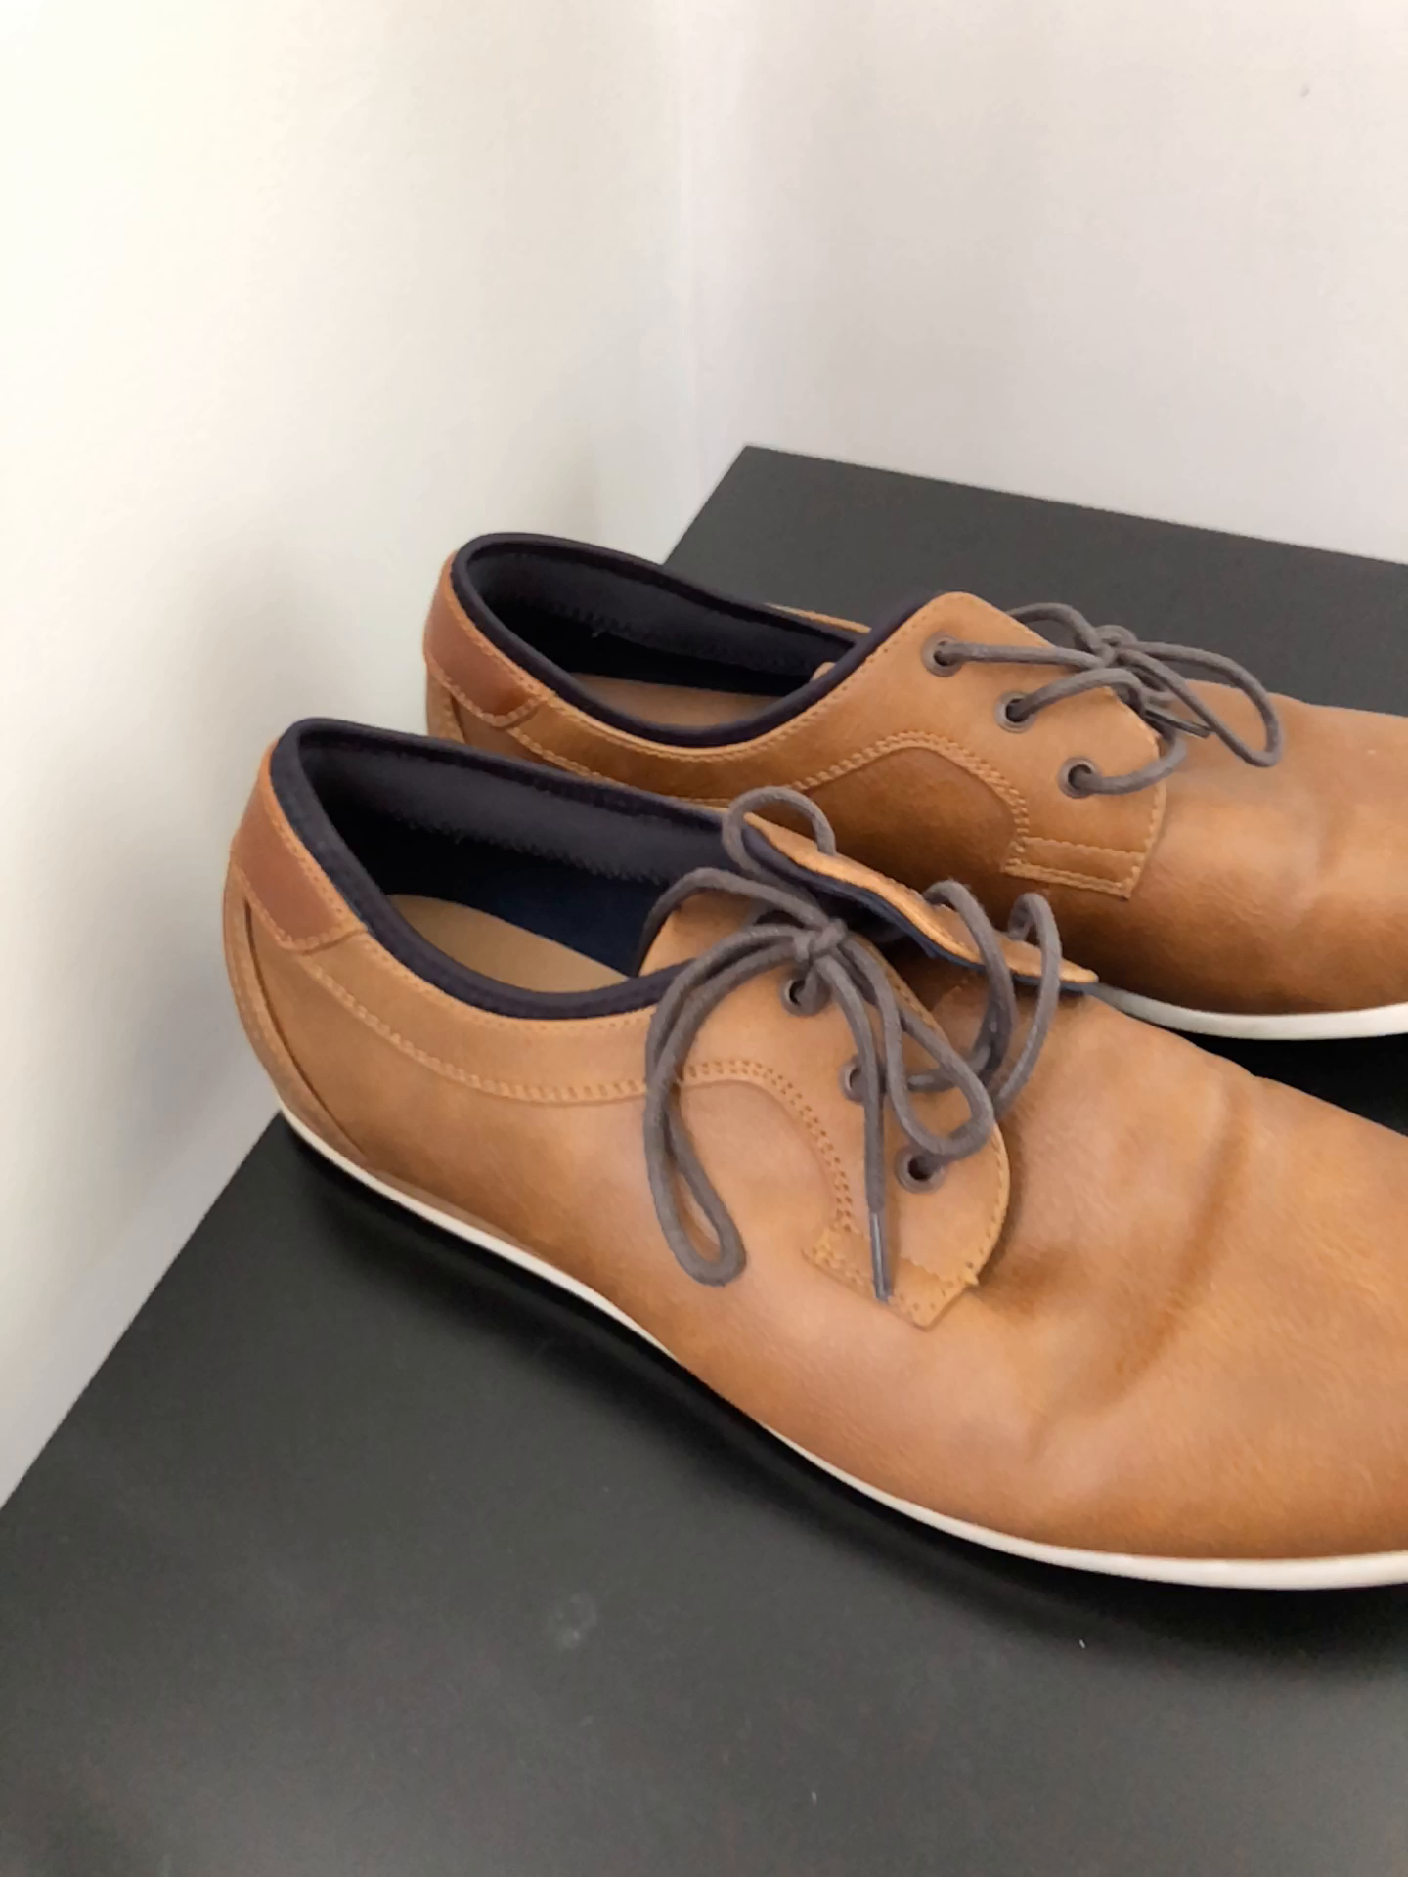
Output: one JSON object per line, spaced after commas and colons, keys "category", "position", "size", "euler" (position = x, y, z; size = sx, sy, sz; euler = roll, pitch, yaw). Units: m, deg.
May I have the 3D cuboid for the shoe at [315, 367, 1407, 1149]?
{"category": "shoe", "position": [0.069, -0.049, 0.370], "size": [0.280, 0.100, 0.104], "euler": [10, 48, 12]}

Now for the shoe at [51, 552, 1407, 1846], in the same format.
{"category": "shoe", "position": [0.036, 0.031, 0.286], "size": [0.270, 0.100, 0.104], "euler": [20, 51, 19]}
